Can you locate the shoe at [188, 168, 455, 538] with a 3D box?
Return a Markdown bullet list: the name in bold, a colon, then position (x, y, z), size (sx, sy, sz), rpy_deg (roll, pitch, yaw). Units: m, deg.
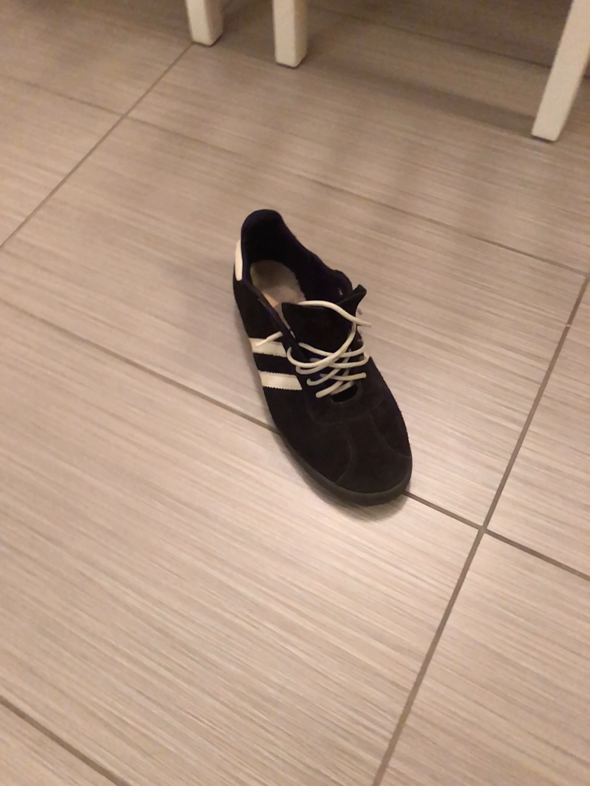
- **shoe**: position (0.013, -0.045, 0.598), size (0.110, 0.120, 0.311), rpy_deg (-22, 61, -7)
